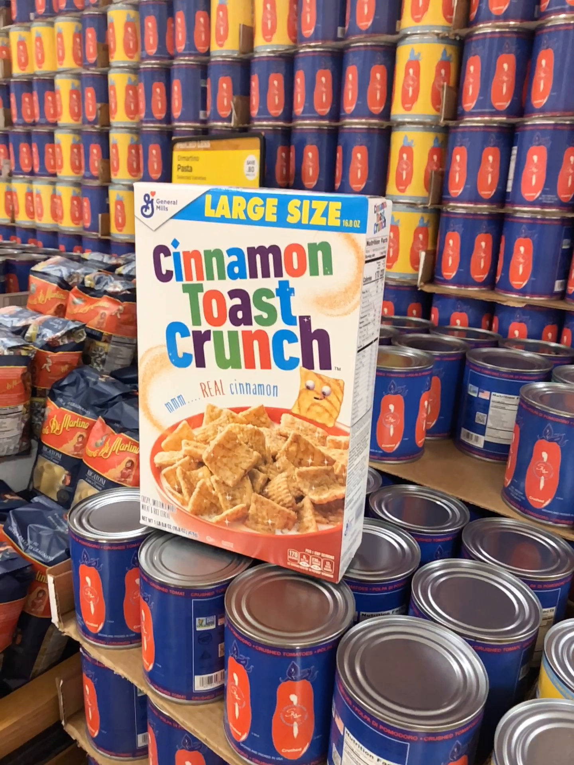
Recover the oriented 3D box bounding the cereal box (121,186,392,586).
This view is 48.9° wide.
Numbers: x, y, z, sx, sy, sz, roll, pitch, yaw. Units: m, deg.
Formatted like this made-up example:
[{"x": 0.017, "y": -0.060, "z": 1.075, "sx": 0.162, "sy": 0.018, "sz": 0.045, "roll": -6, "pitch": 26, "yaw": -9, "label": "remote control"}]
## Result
[{"x": -0.031, "y": -0.005, "z": 0.532, "sx": 0.200, "sy": 0.298, "sz": 0.070, "roll": 10, "pitch": 18, "yaw": 23, "label": "cereal box"}]
